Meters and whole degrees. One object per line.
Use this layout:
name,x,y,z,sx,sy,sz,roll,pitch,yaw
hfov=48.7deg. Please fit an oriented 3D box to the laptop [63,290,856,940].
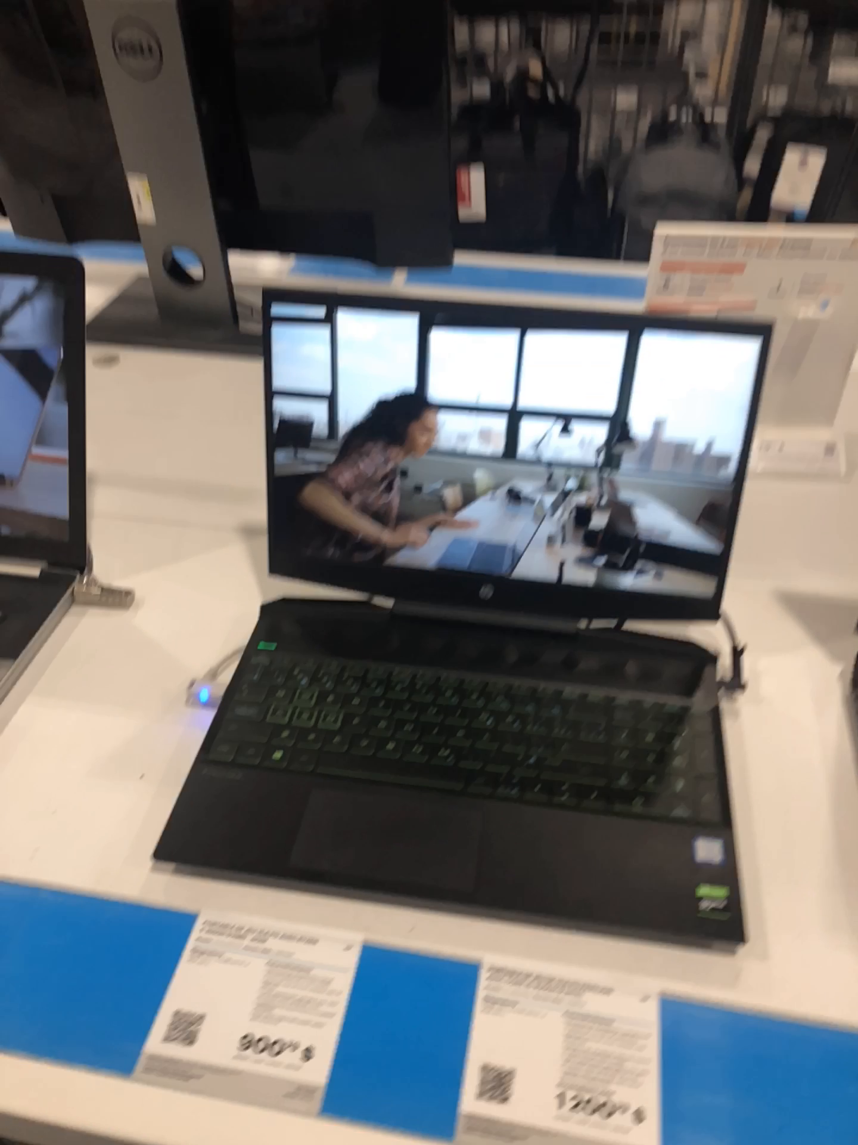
laptop,0.029,0.004,0.617,0.355,0.232,0.317,6,38,5
